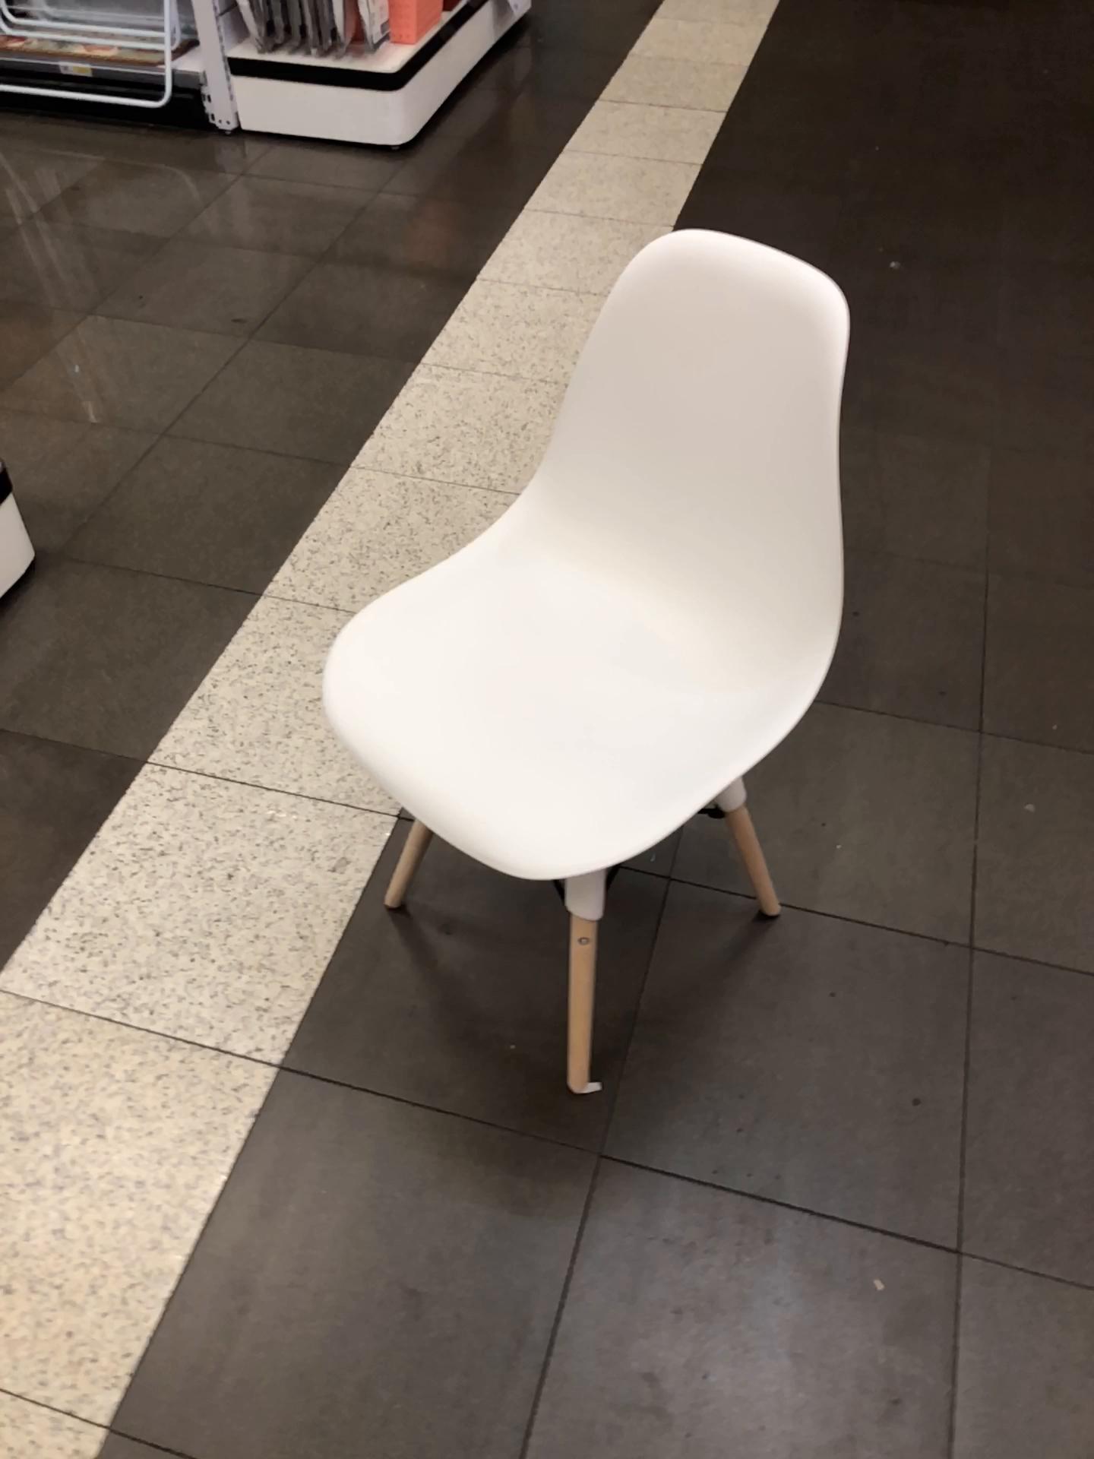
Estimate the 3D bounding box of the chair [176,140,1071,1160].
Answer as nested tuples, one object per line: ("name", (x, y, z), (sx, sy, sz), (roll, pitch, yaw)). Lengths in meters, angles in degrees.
("chair", (0.060, -0.077, 1.287), (0.542, 0.794, 0.522), (-31, 53, -27))
